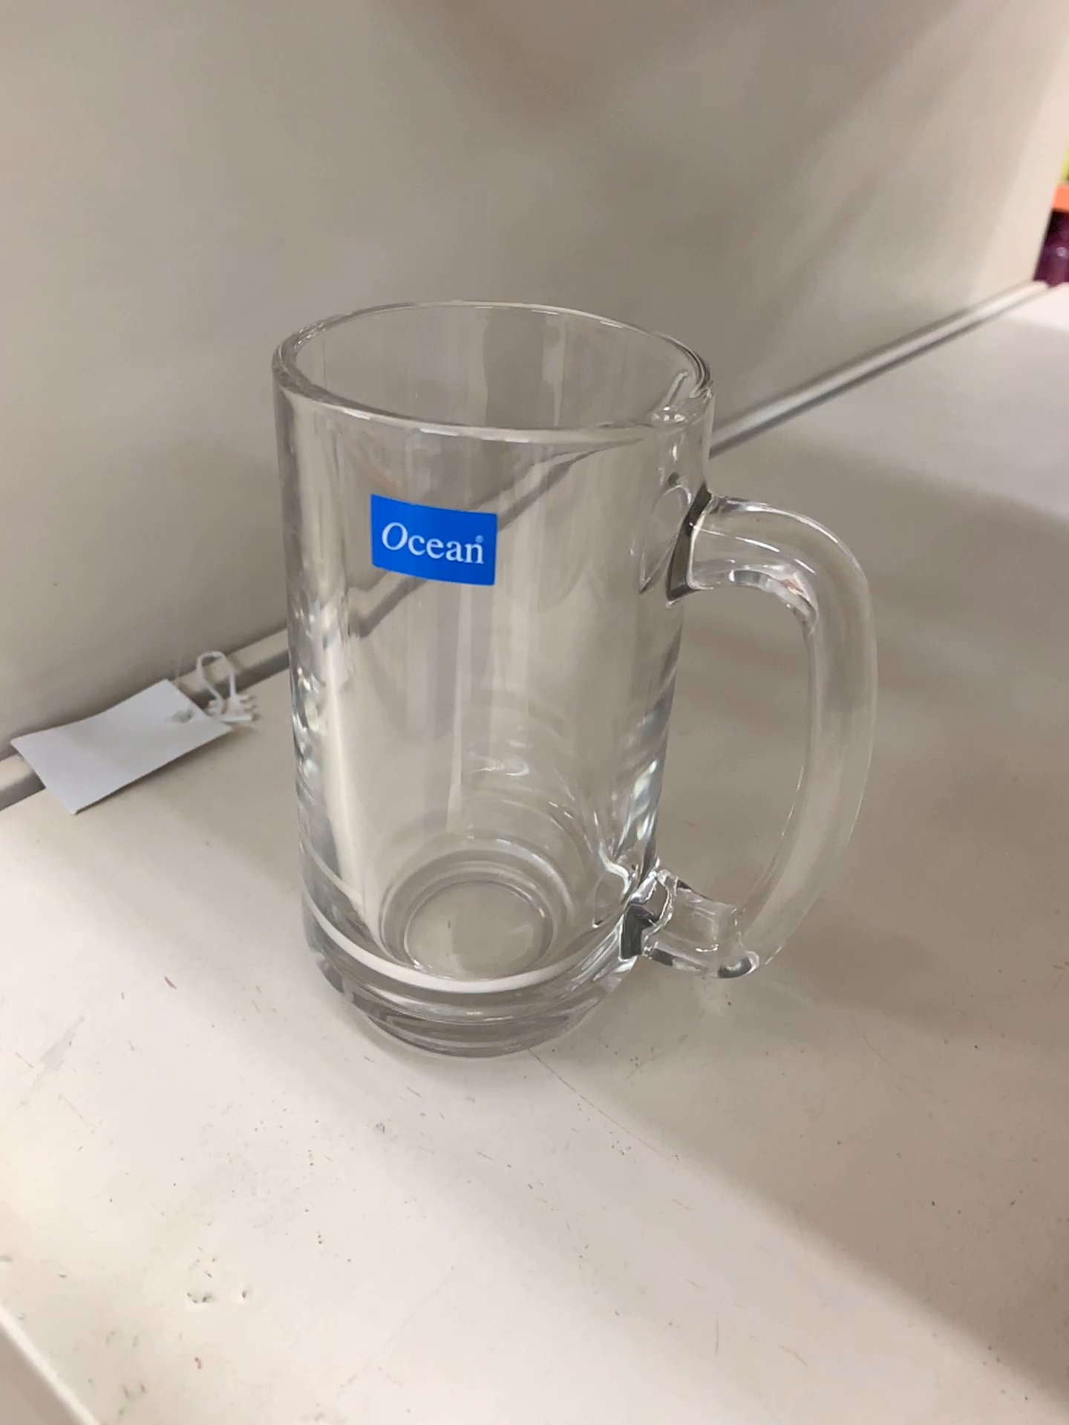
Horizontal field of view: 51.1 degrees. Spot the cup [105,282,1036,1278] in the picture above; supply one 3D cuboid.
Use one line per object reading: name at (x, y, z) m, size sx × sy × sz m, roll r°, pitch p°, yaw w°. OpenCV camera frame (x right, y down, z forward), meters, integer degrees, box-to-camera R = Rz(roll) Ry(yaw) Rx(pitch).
cup at (0.004, 0.004, 0.208) m, size 0.120 × 0.129 × 0.080 m, roll 20°, pitch 37°, yaw 25°
